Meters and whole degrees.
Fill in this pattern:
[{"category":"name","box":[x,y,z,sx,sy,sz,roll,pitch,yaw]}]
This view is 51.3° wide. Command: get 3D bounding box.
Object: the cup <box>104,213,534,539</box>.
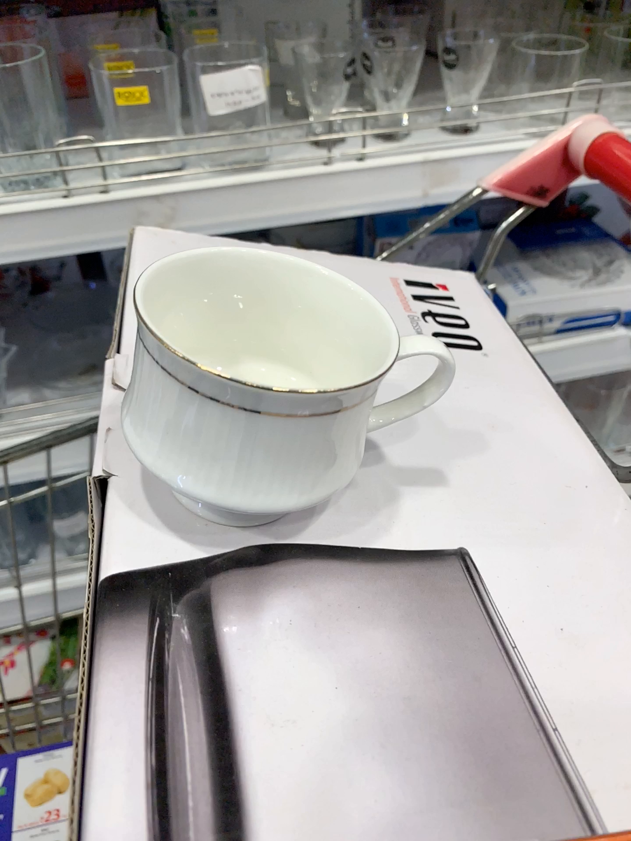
[{"category":"cup","box":[-0.005,-0.010,0.172,0.090,0.050,0.060,5,39,-21]}]
